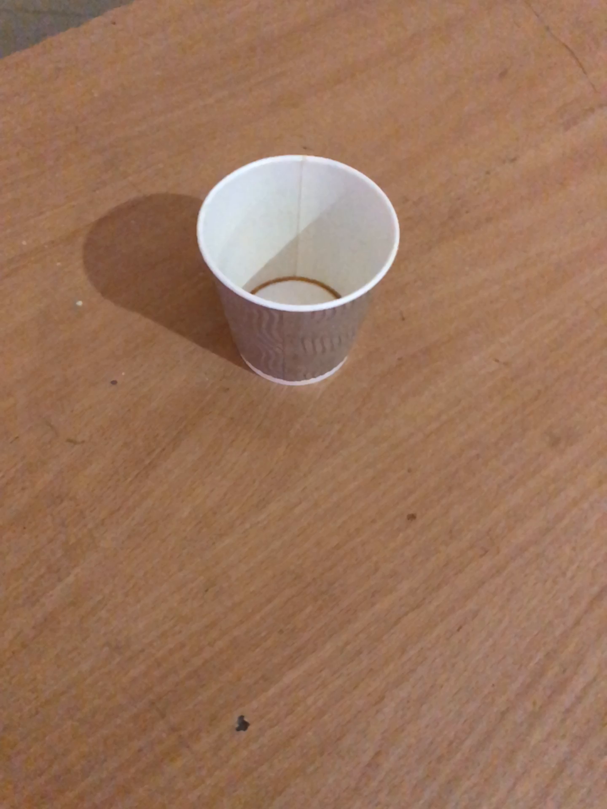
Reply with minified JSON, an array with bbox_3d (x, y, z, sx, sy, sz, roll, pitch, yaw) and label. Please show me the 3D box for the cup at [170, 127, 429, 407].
[{"bbox_3d":[0.000,-0.052,0.265,0.074,0.064,0.067,16,67,6],"label":"cup"}]
